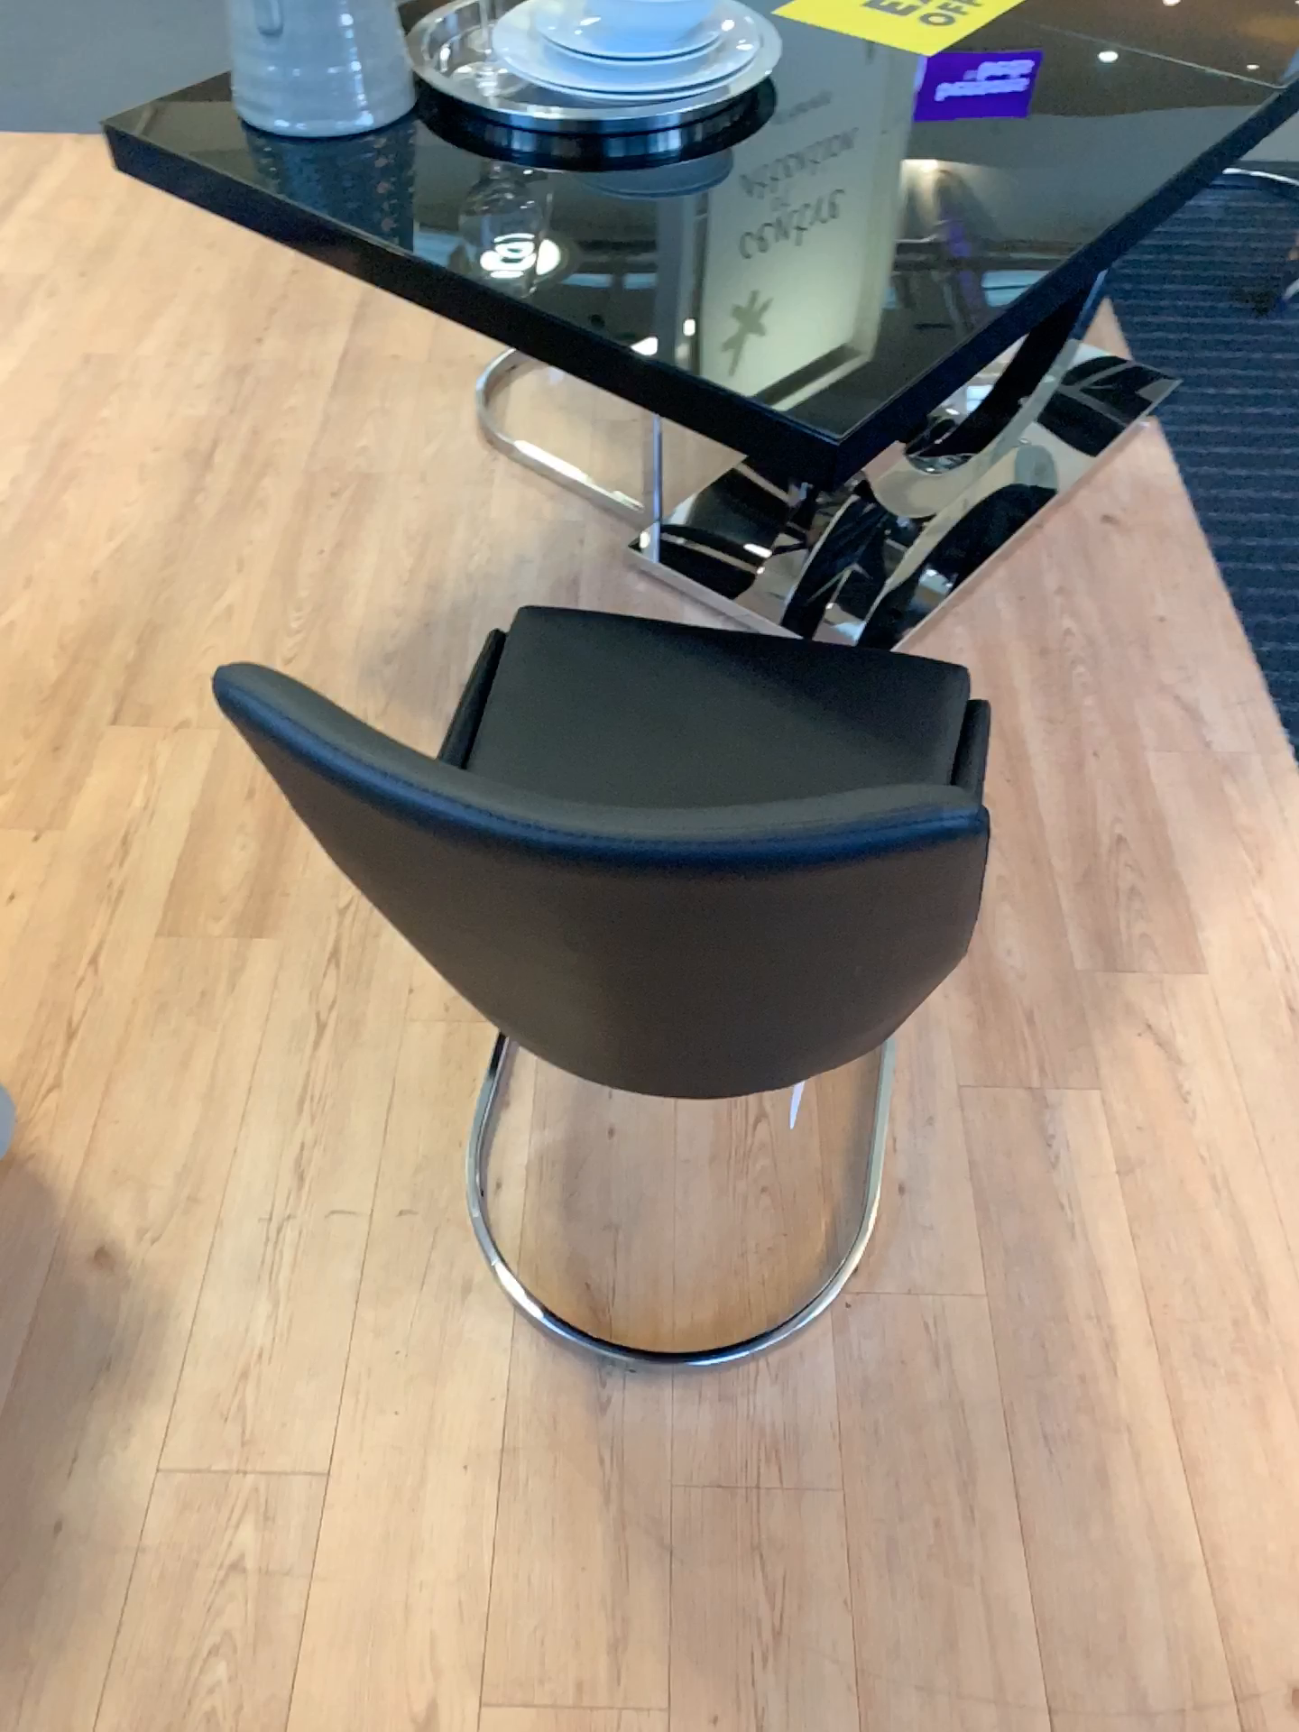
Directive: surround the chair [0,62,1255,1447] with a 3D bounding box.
[{"bbox_3d":[0.032,-0.047,1.034,0.506,0.812,0.635,8,50,7],"label":"chair"}]
